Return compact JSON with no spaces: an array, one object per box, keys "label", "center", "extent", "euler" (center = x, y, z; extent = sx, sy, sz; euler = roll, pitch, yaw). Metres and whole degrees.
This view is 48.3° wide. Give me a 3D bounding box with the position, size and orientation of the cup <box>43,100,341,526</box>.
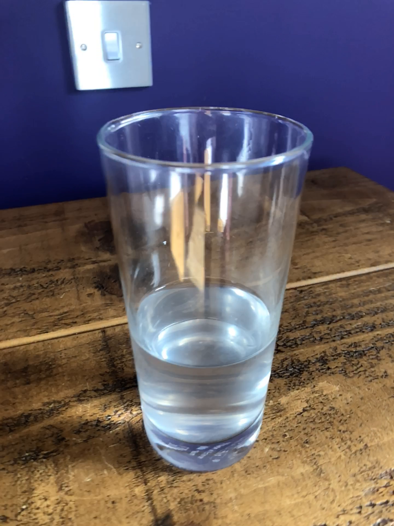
[{"label":"cup","center":[-0.005,0.020,0.190],"extent":[0.074,0.152,0.077],"euler":[0,31,0]}]
